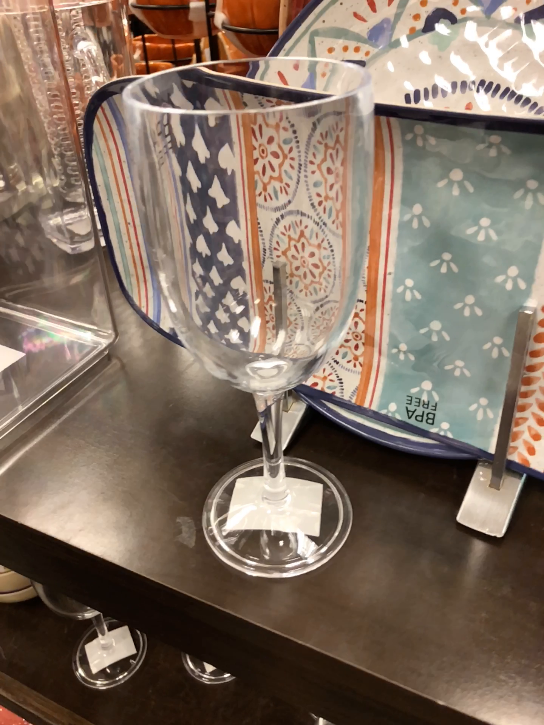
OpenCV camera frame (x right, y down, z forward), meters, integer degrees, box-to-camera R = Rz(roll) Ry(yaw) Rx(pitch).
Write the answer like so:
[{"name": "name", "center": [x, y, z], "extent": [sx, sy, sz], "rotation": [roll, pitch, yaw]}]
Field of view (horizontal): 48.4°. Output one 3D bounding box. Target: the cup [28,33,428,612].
[{"name": "cup", "center": [-0.005, -0.011, 0.240], "extent": [0.090, 0.200, 0.085], "rotation": [-2, 35, 1]}]
